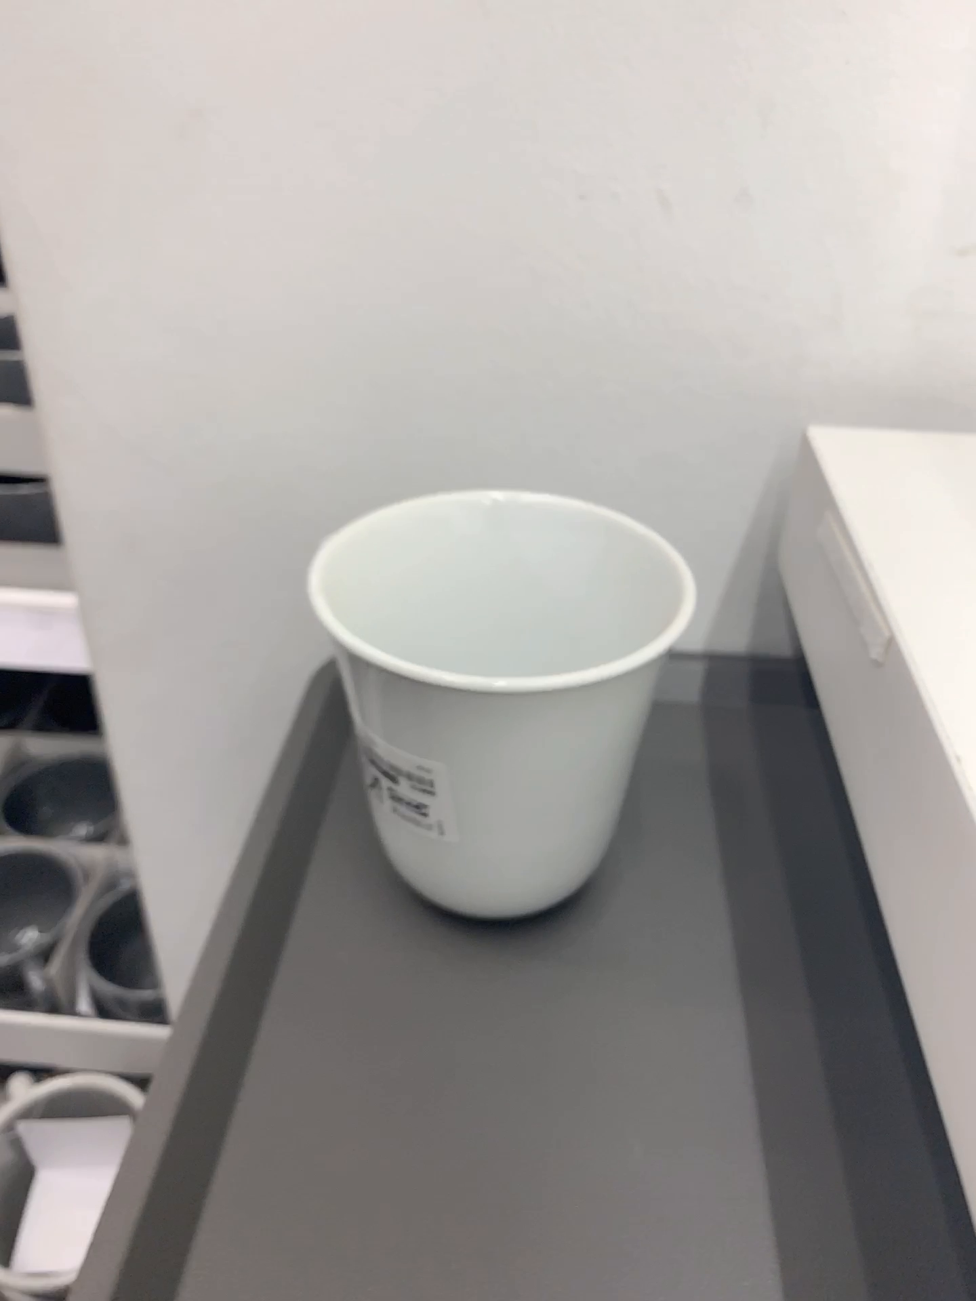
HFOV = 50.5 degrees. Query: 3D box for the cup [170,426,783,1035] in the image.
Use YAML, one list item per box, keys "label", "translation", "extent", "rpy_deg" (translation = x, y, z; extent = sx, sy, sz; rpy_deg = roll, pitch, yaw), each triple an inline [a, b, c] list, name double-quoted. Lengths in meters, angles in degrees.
- label: "cup"
  translation: [-0.005, 0.012, 0.303]
  extent: [0.130, 0.100, 0.100]
  rpy_deg: [26, 40, 32]
